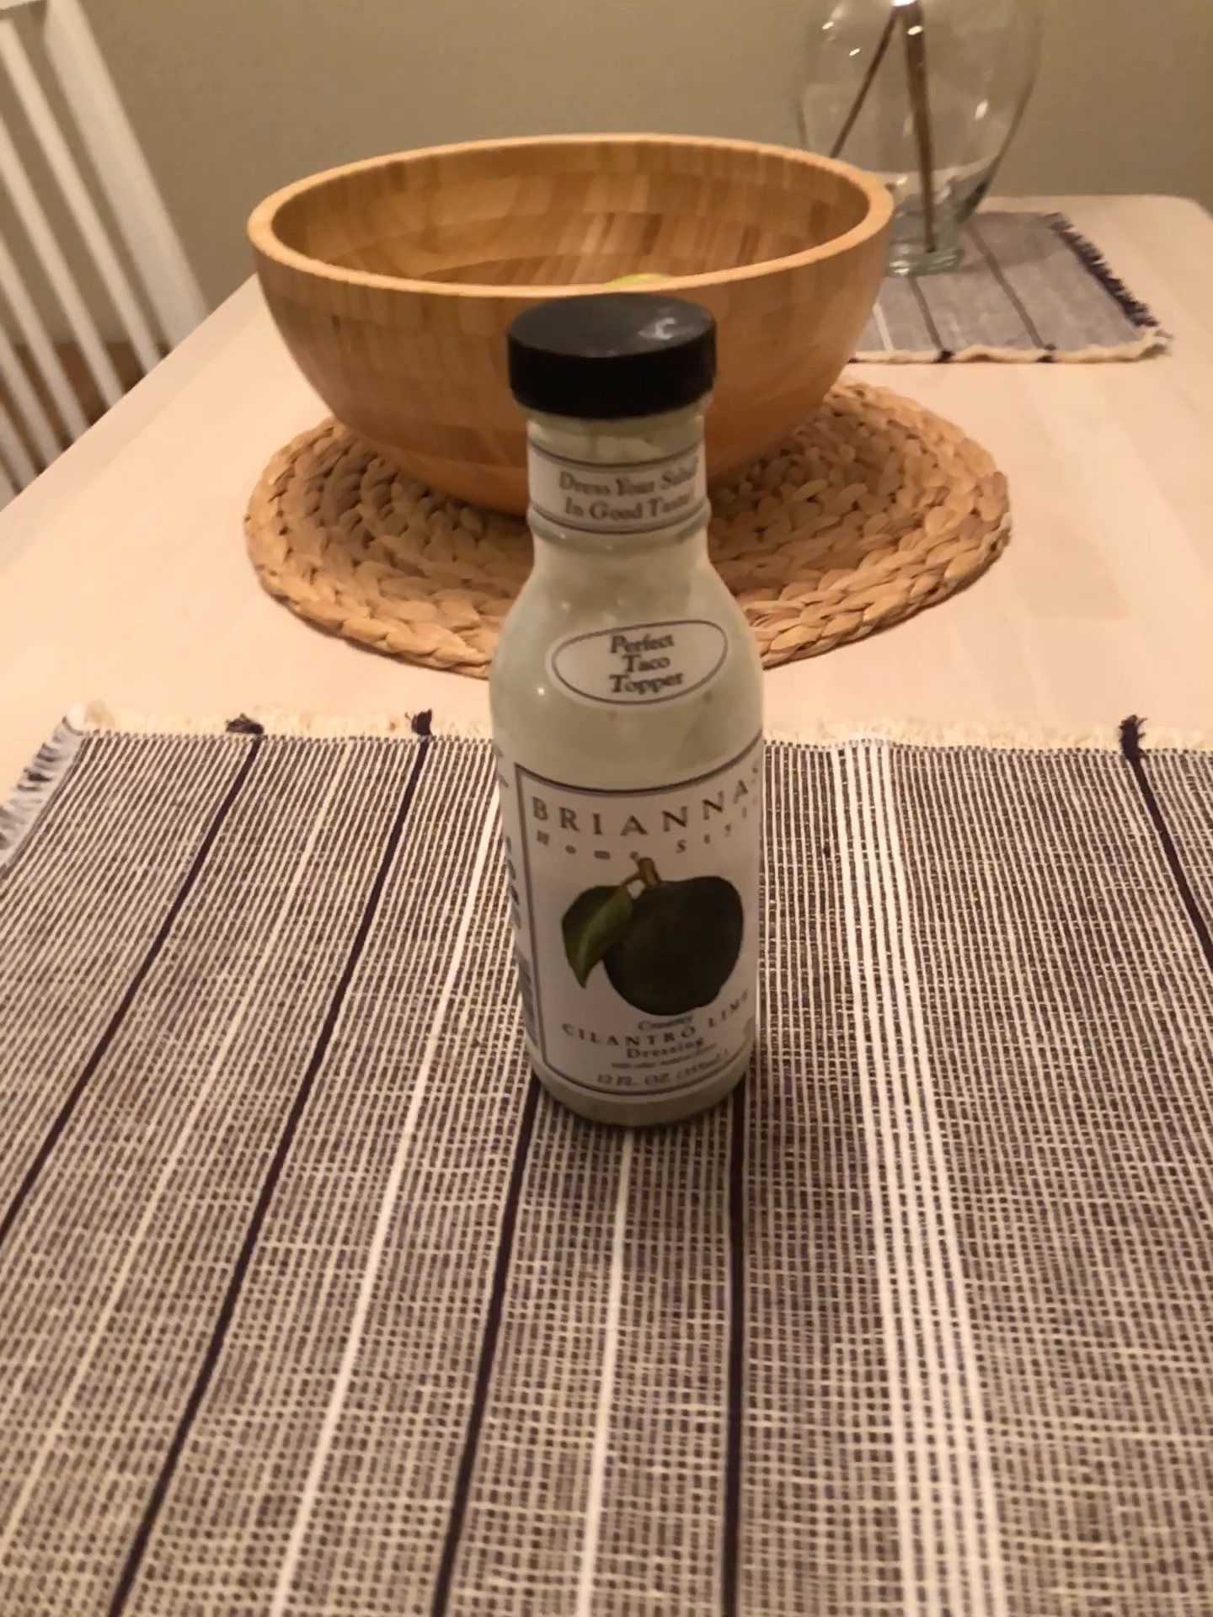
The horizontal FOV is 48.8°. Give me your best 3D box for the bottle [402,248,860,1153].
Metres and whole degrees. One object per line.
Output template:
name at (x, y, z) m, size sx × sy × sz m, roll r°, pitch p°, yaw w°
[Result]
bottle at (0.003, -0.016, 0.299) m, size 0.074 × 0.186 × 0.070 m, roll -1°, pitch 36°, yaw 1°
